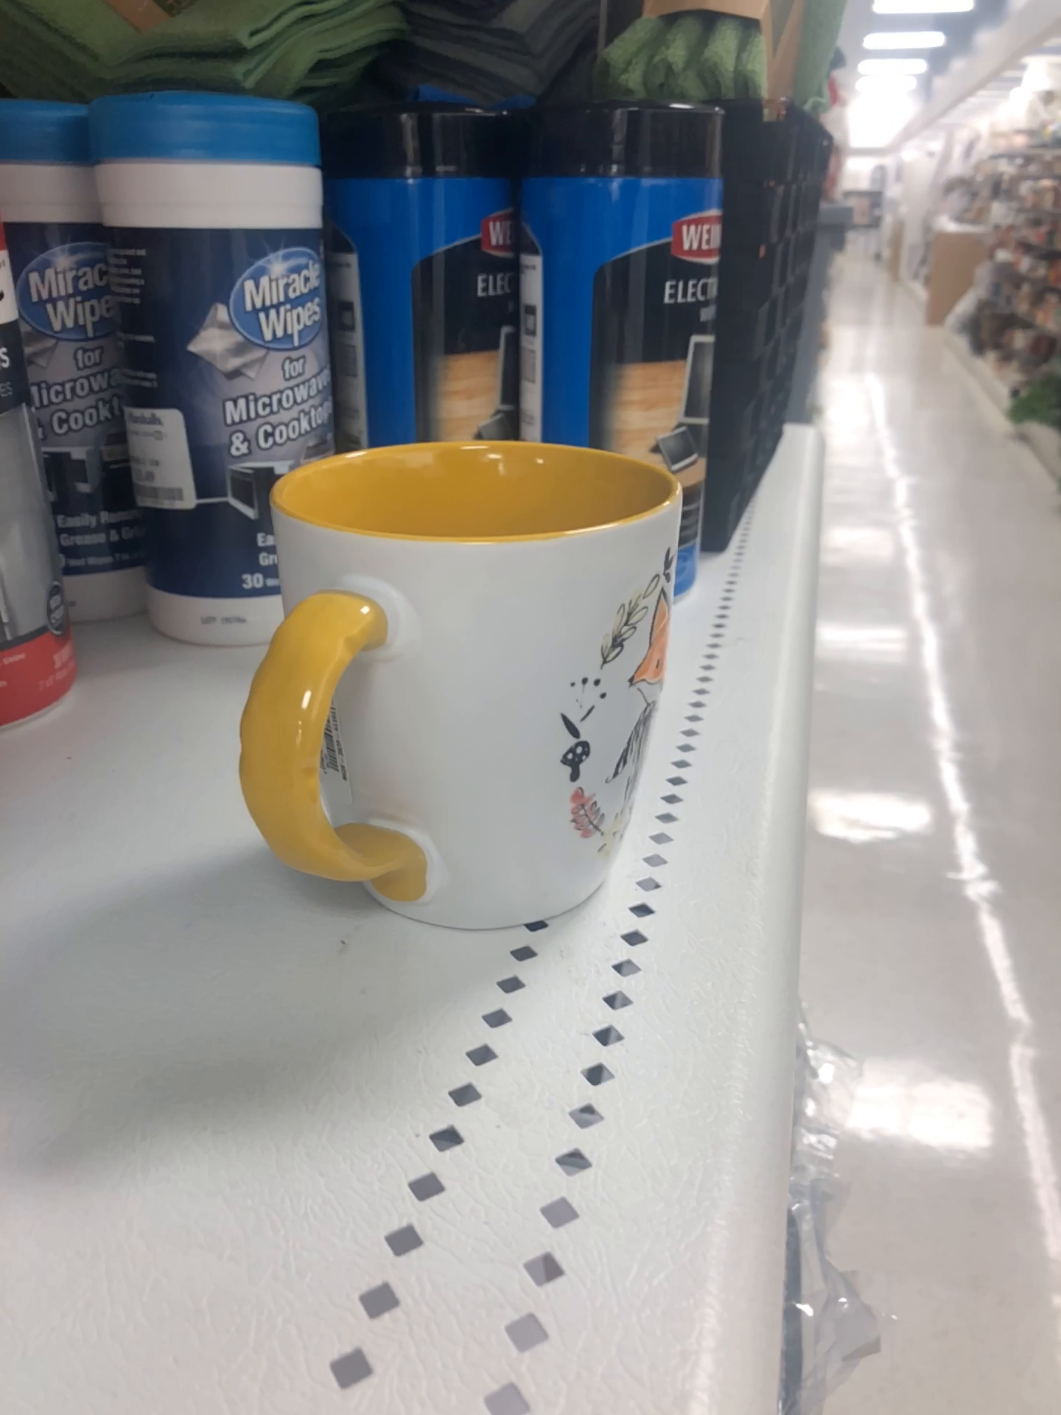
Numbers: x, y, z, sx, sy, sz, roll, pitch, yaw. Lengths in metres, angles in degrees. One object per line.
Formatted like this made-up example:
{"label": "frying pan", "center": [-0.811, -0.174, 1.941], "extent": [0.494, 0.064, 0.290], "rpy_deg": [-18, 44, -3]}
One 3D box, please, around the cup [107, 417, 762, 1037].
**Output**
{"label": "cup", "center": [-0.011, -0.010, 0.287], "extent": [0.099, 0.093, 0.134], "rpy_deg": [9, 25, 21]}
